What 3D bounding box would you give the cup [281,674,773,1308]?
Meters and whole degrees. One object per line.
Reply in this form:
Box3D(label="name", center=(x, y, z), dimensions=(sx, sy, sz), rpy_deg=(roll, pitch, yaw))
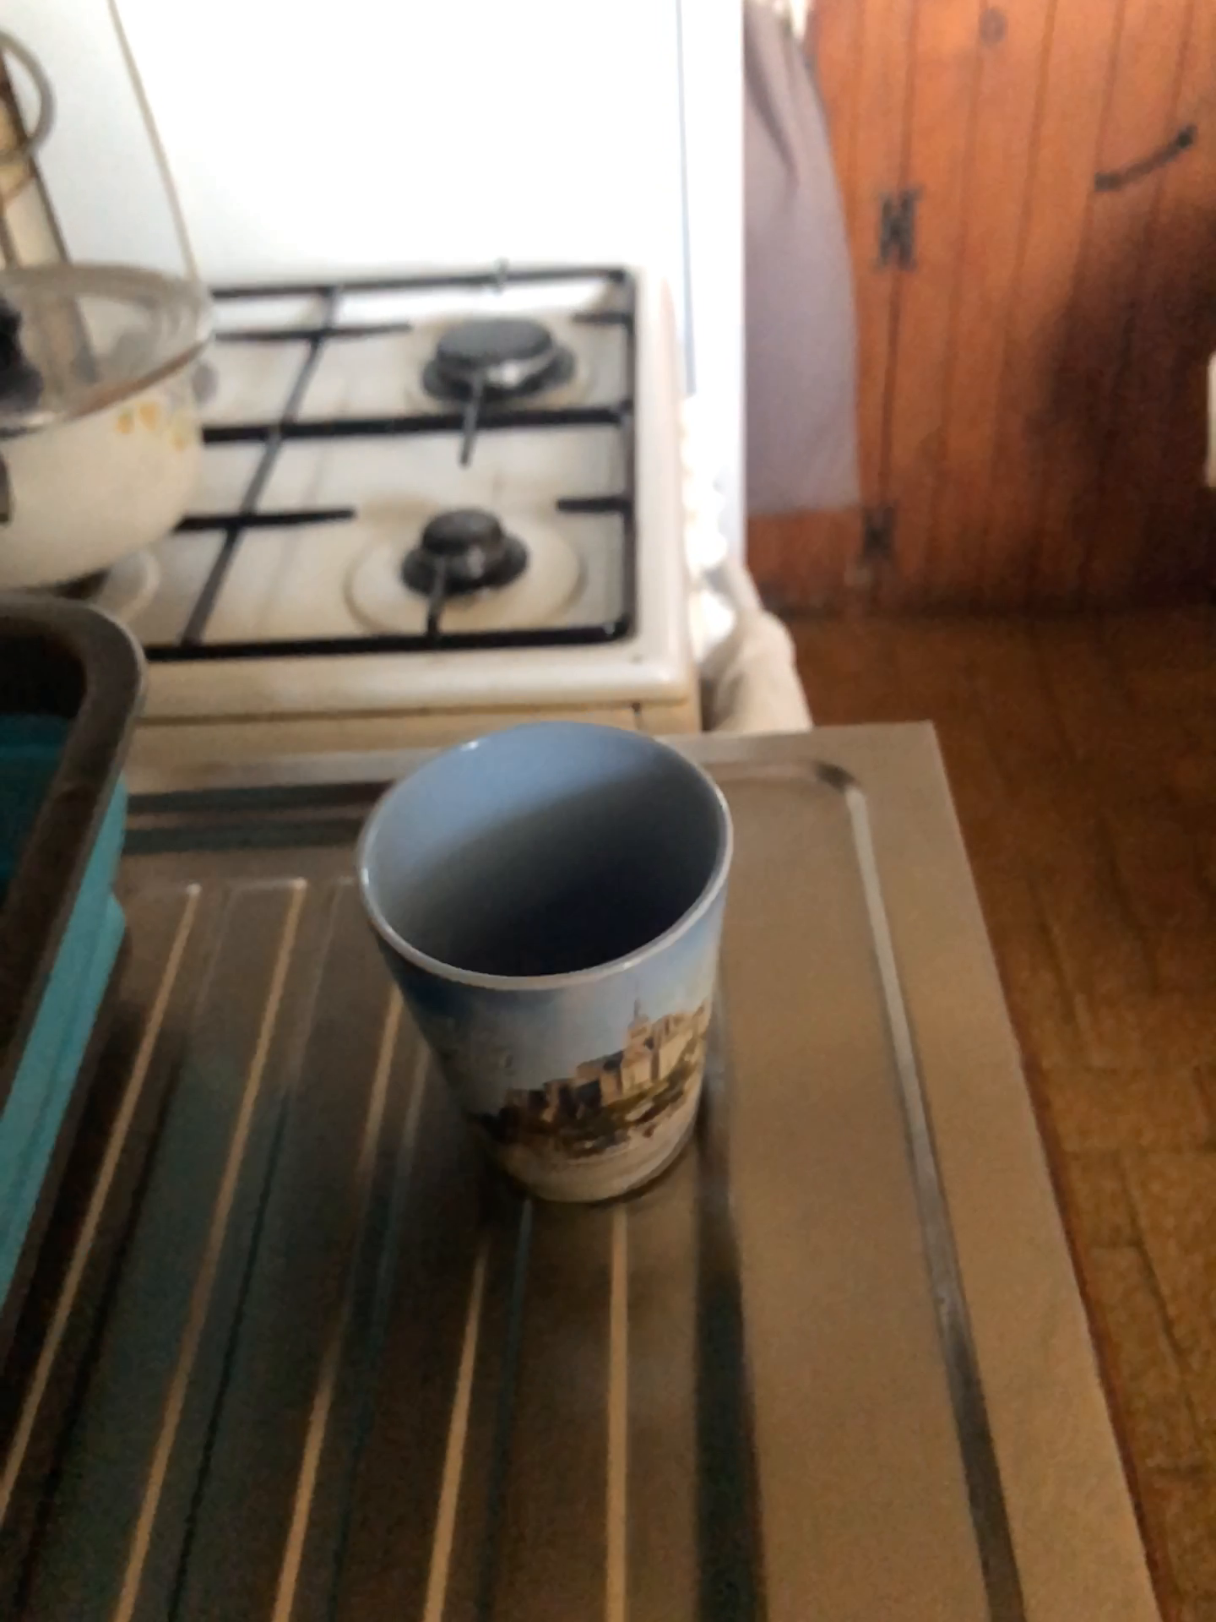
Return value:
Box3D(label="cup", center=(-0.009, 0.043, 0.366), dimensions=(0.100, 0.099, 0.131), rpy_deg=(2, 42, 8))
